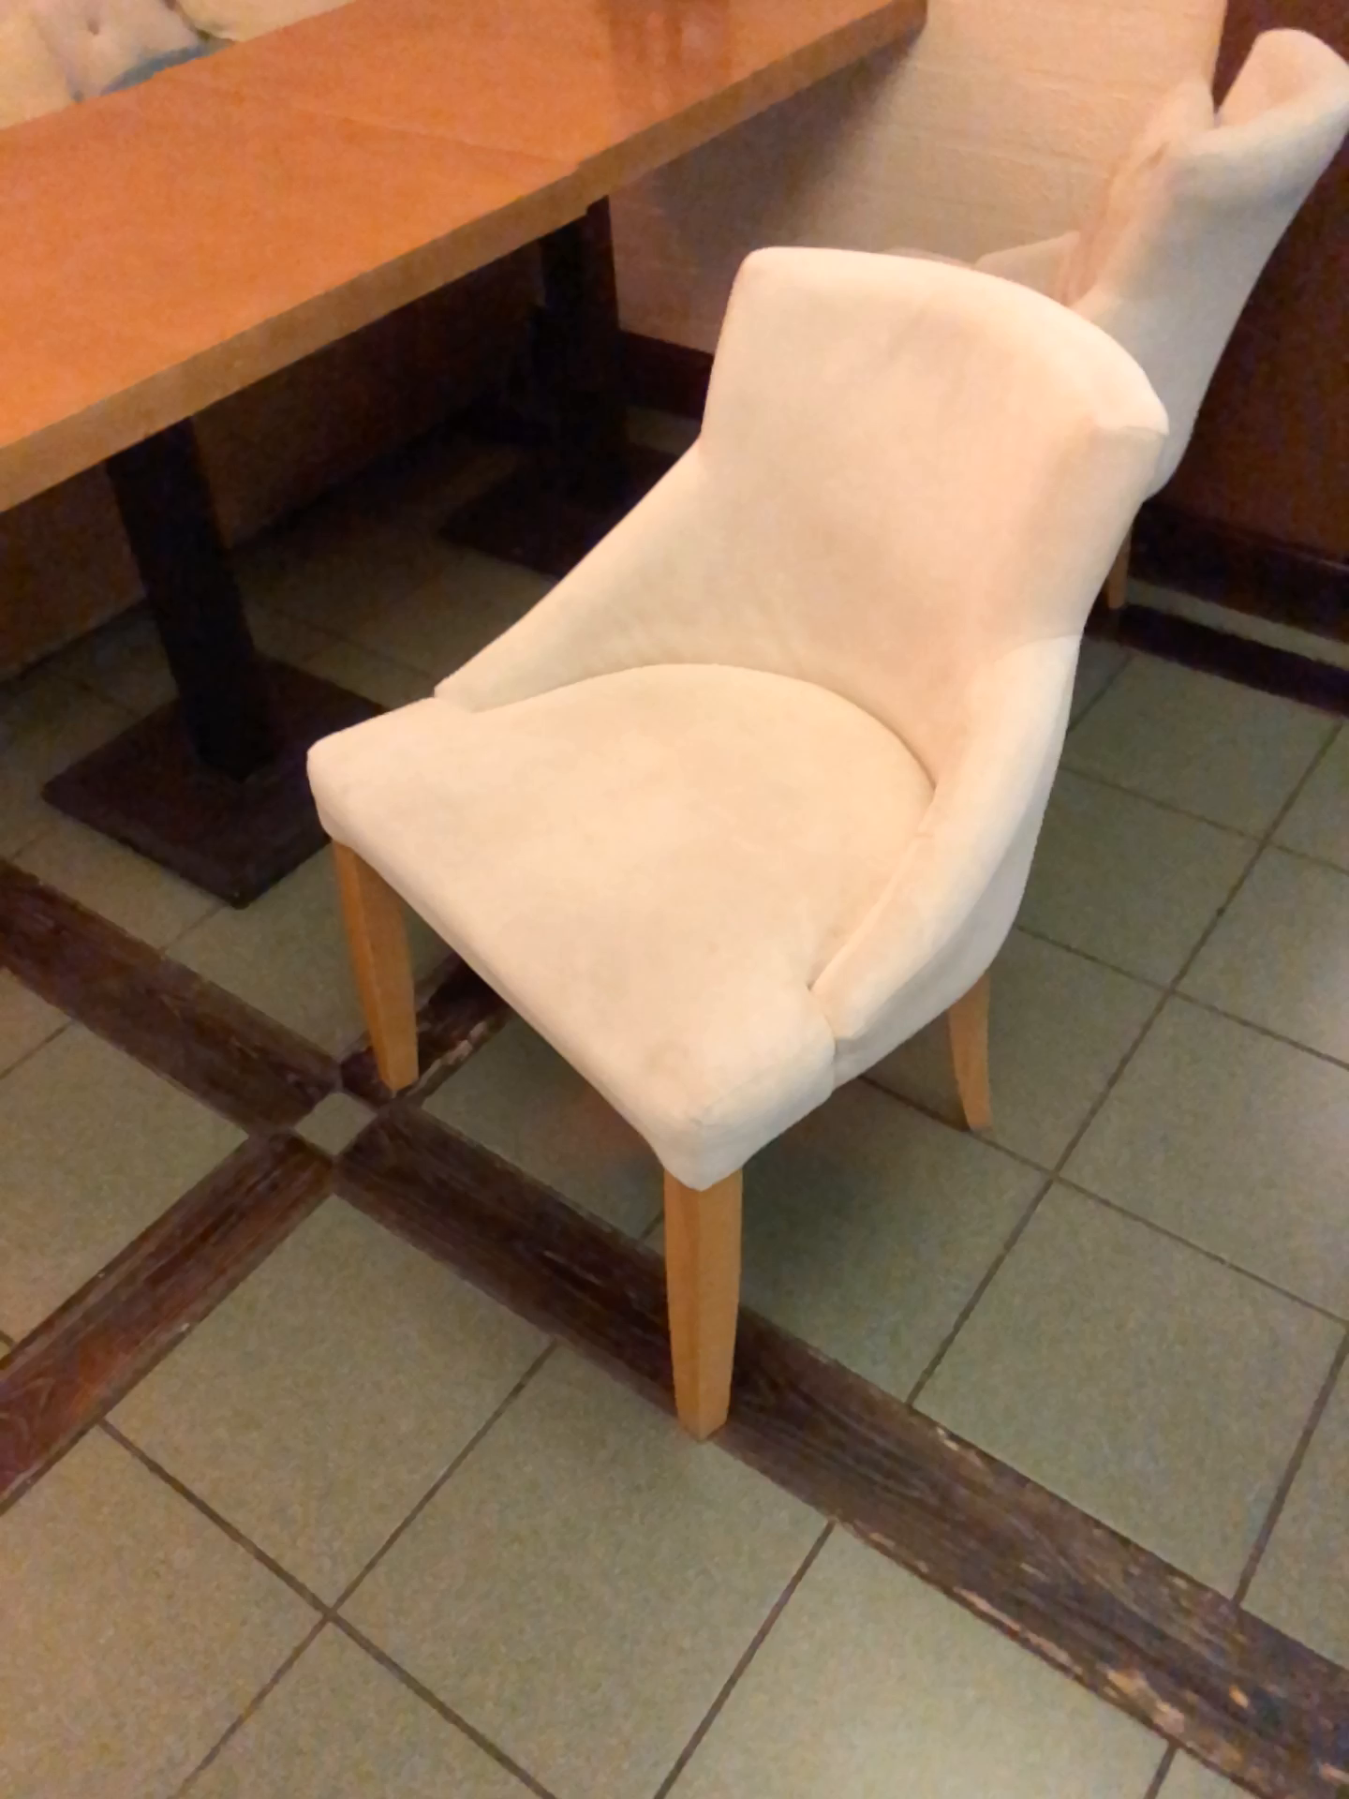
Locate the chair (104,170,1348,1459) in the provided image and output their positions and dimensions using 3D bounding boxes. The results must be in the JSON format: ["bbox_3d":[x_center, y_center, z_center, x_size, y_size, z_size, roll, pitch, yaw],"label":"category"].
[{"bbox_3d":[0.045,-0.110,1.323,0.661,0.736,0.632,-32,50,-27],"label":"chair"}]
